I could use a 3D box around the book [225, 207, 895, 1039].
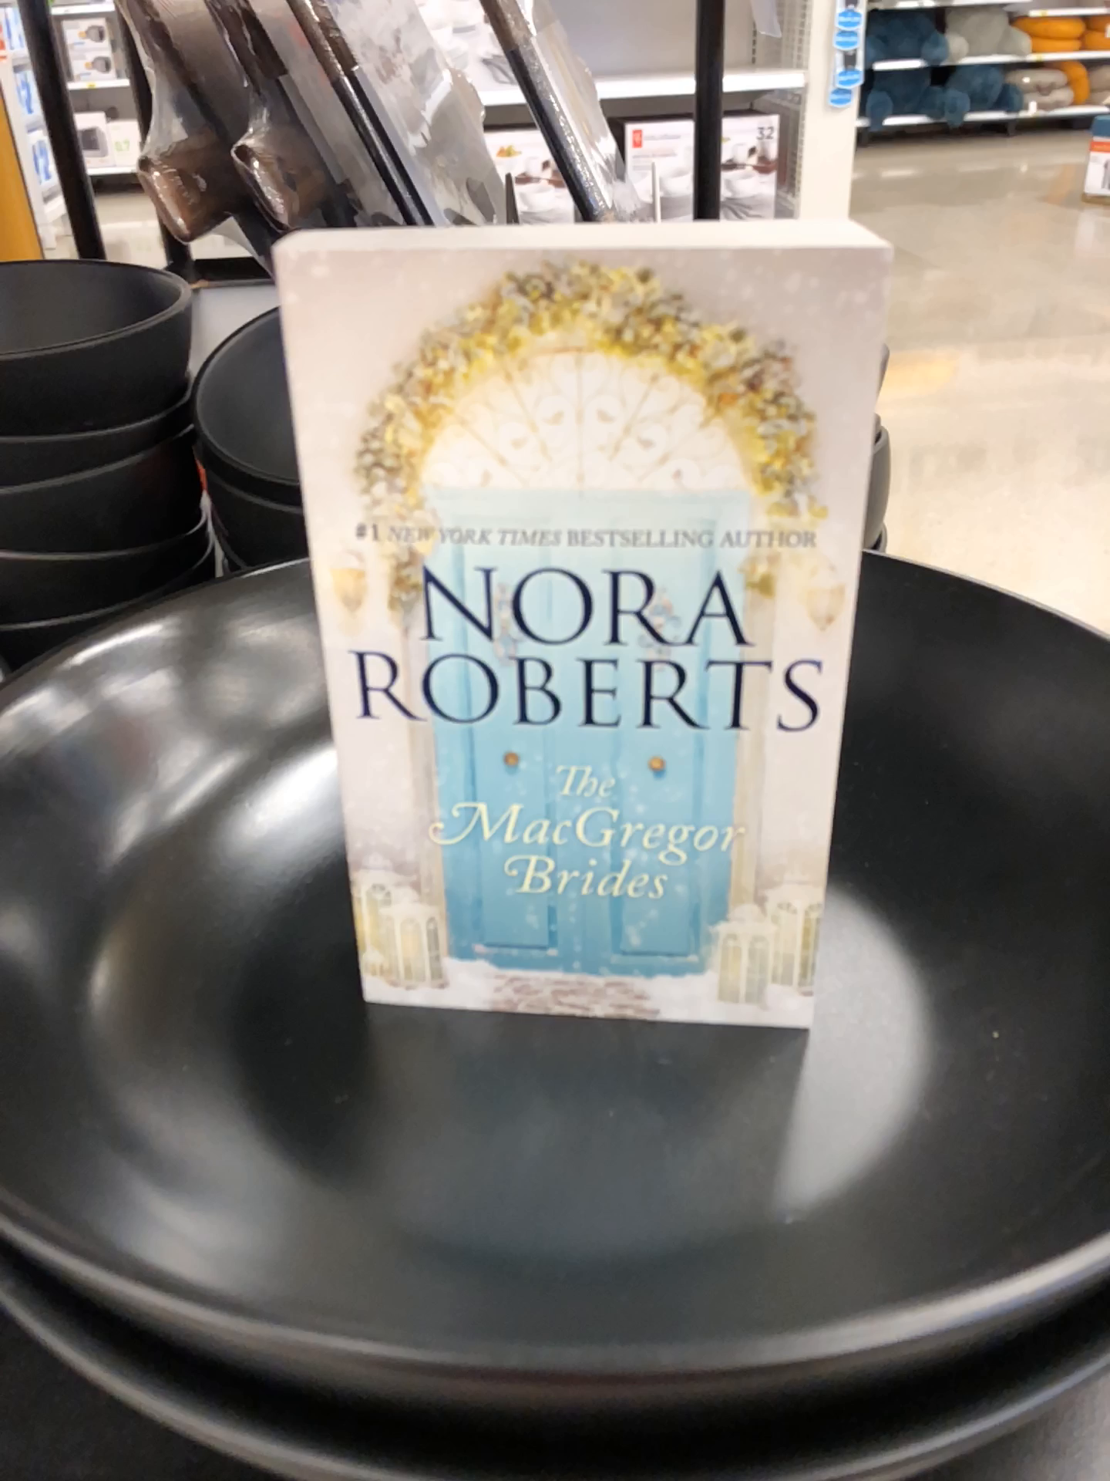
[{"bbox_3d":[0.005,-0.018,0.260,0.110,0.168,0.040,1,29,7],"label":"book"}]
